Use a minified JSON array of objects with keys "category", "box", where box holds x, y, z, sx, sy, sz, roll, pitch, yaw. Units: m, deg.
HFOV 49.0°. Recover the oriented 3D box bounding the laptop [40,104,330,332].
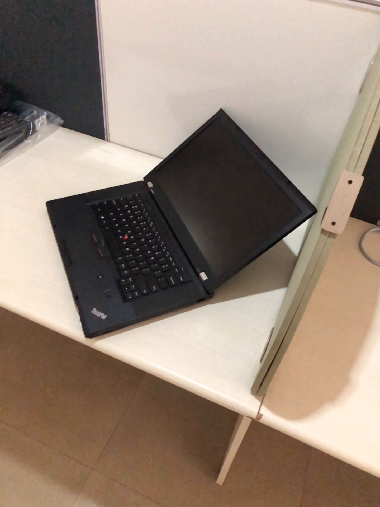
[{"category":"laptop","box":[-0.036,-0.098,0.798,0.411,0.142,0.355,-17,49,-15]}]
